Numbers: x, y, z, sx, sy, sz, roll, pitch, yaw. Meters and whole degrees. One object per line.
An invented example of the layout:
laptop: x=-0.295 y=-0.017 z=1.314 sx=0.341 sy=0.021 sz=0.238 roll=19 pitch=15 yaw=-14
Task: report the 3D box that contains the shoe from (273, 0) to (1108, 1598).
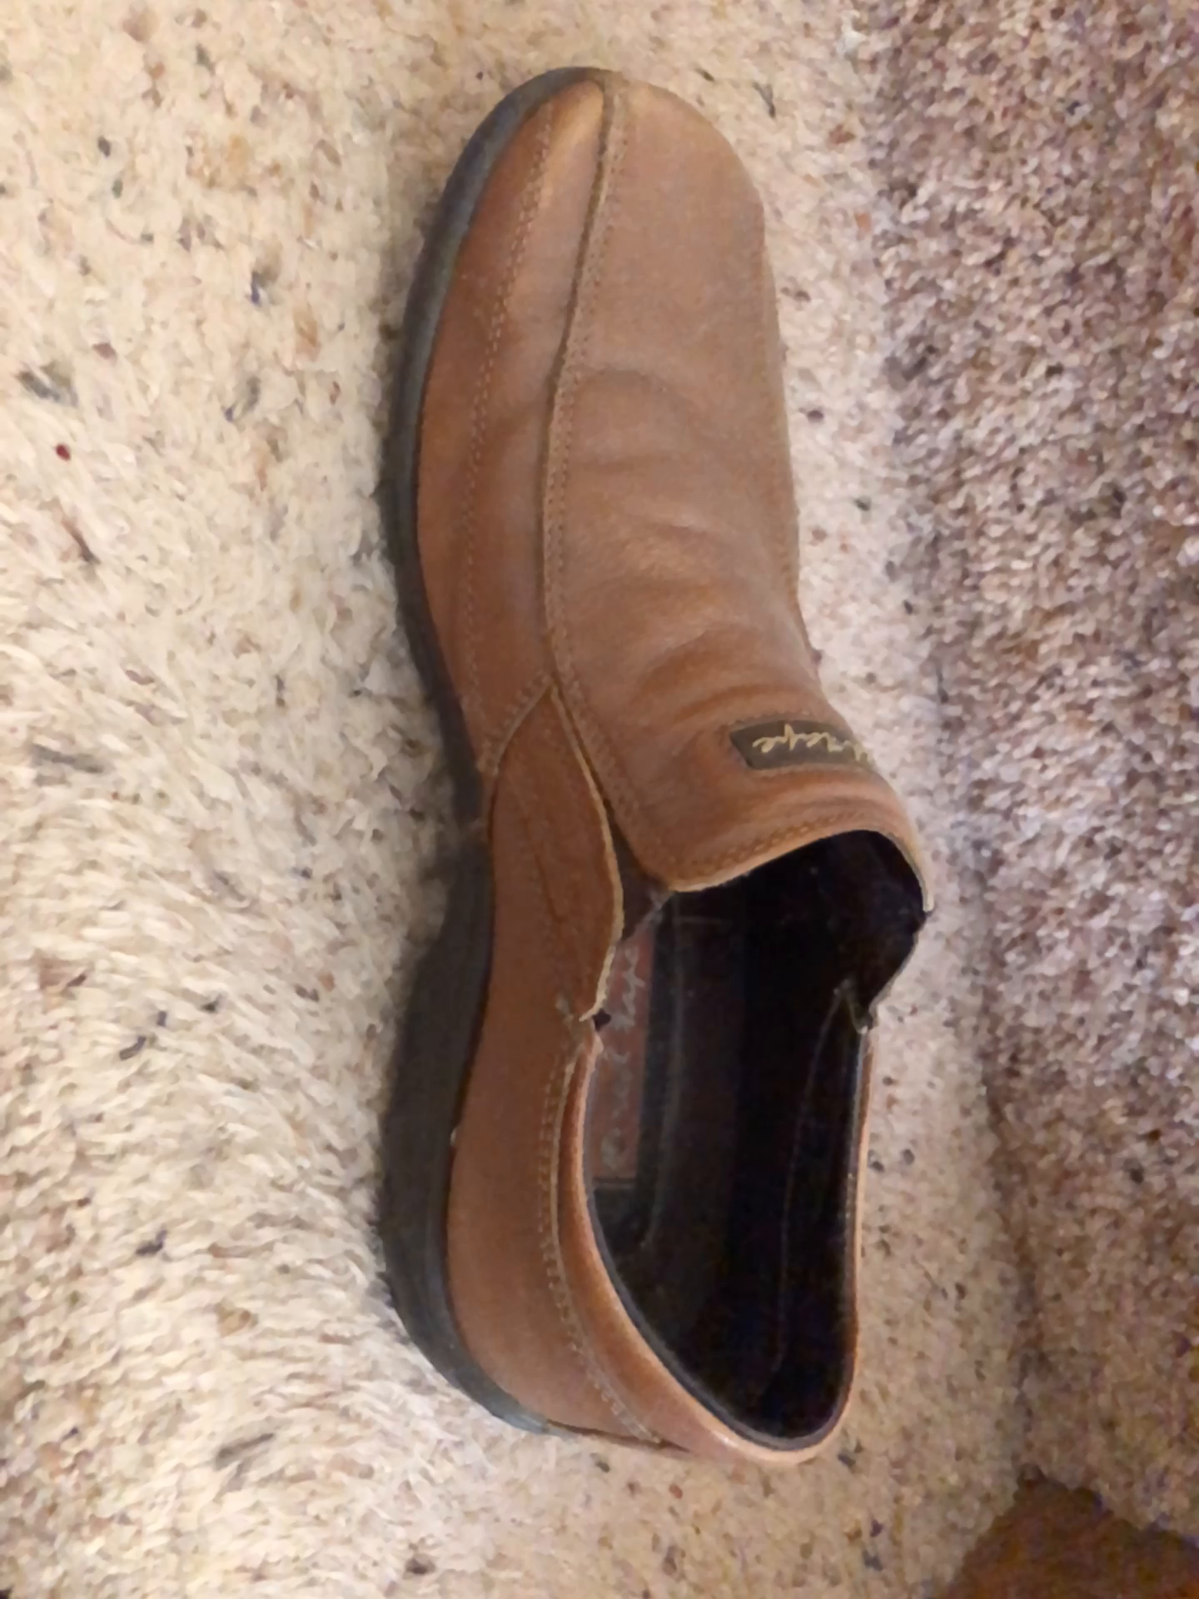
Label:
shoe: x=0.019 y=-0.022 z=0.276 sx=0.111 sy=0.119 sz=0.290 roll=5 pitch=86 yaw=-43
